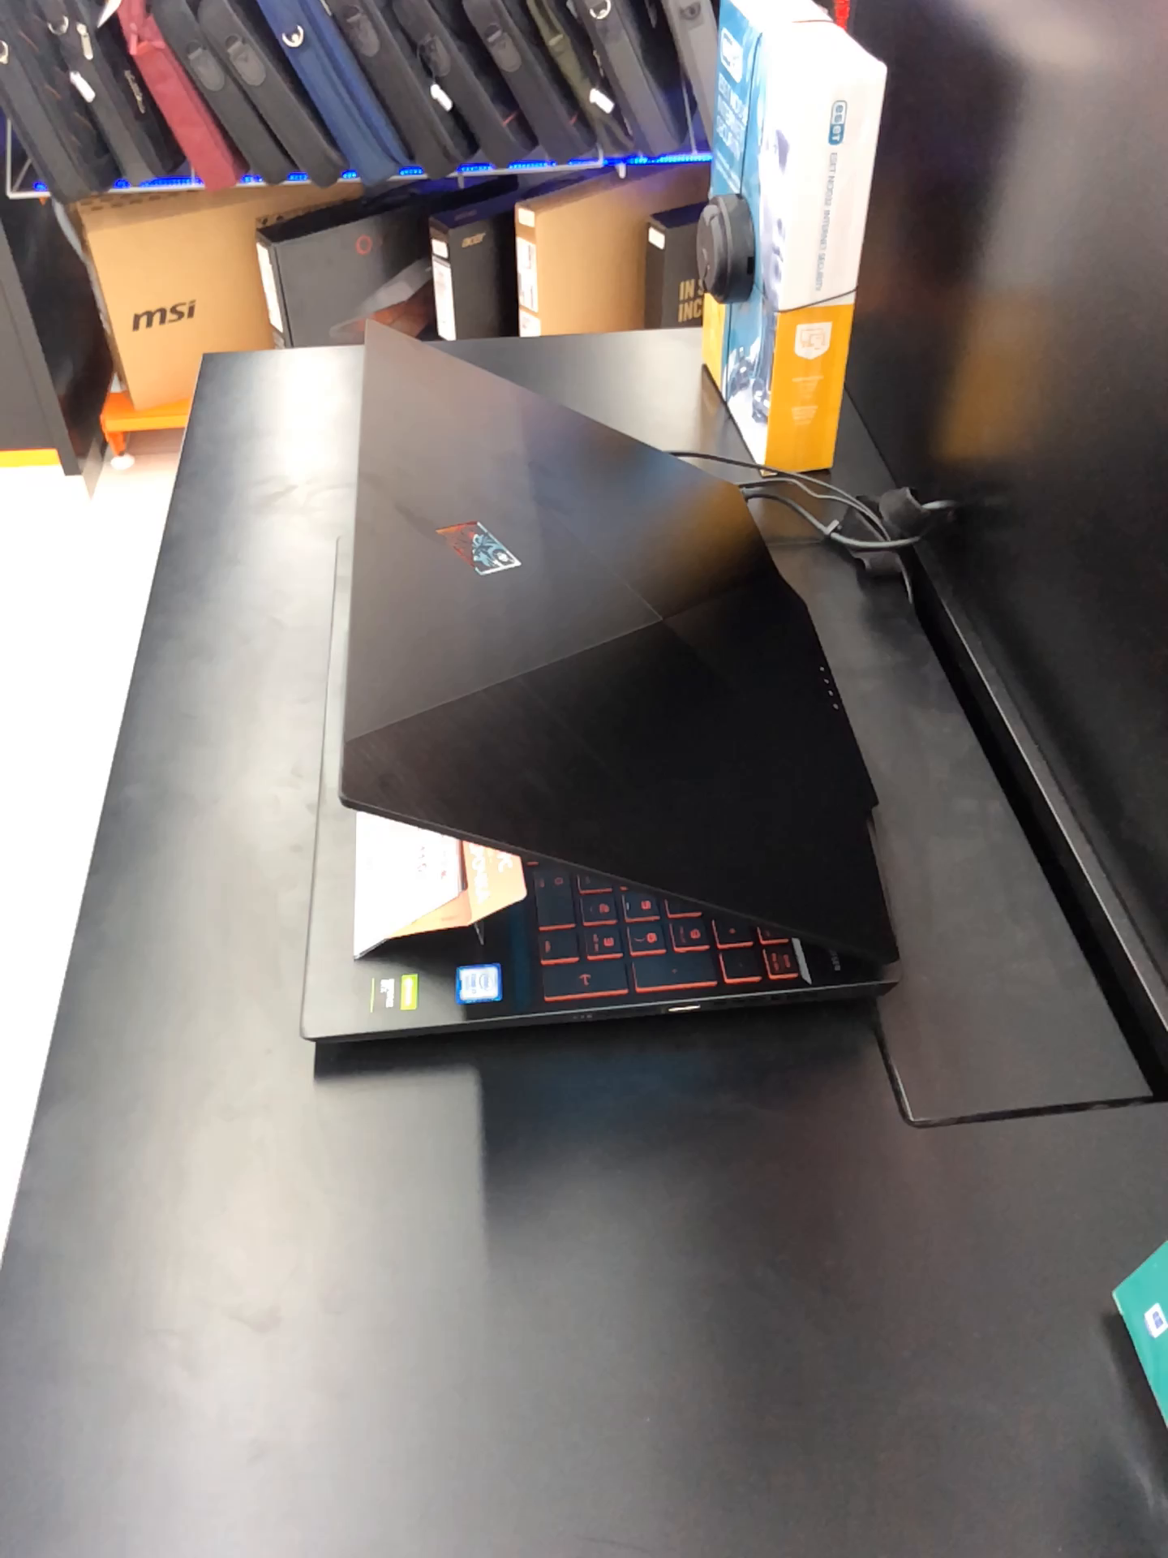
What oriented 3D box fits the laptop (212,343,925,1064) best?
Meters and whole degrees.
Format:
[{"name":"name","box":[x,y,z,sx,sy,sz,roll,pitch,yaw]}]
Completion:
[{"name":"laptop","box":[-0.010,-0.061,0.586,0.230,0.121,0.352,-3,42,-1]}]
